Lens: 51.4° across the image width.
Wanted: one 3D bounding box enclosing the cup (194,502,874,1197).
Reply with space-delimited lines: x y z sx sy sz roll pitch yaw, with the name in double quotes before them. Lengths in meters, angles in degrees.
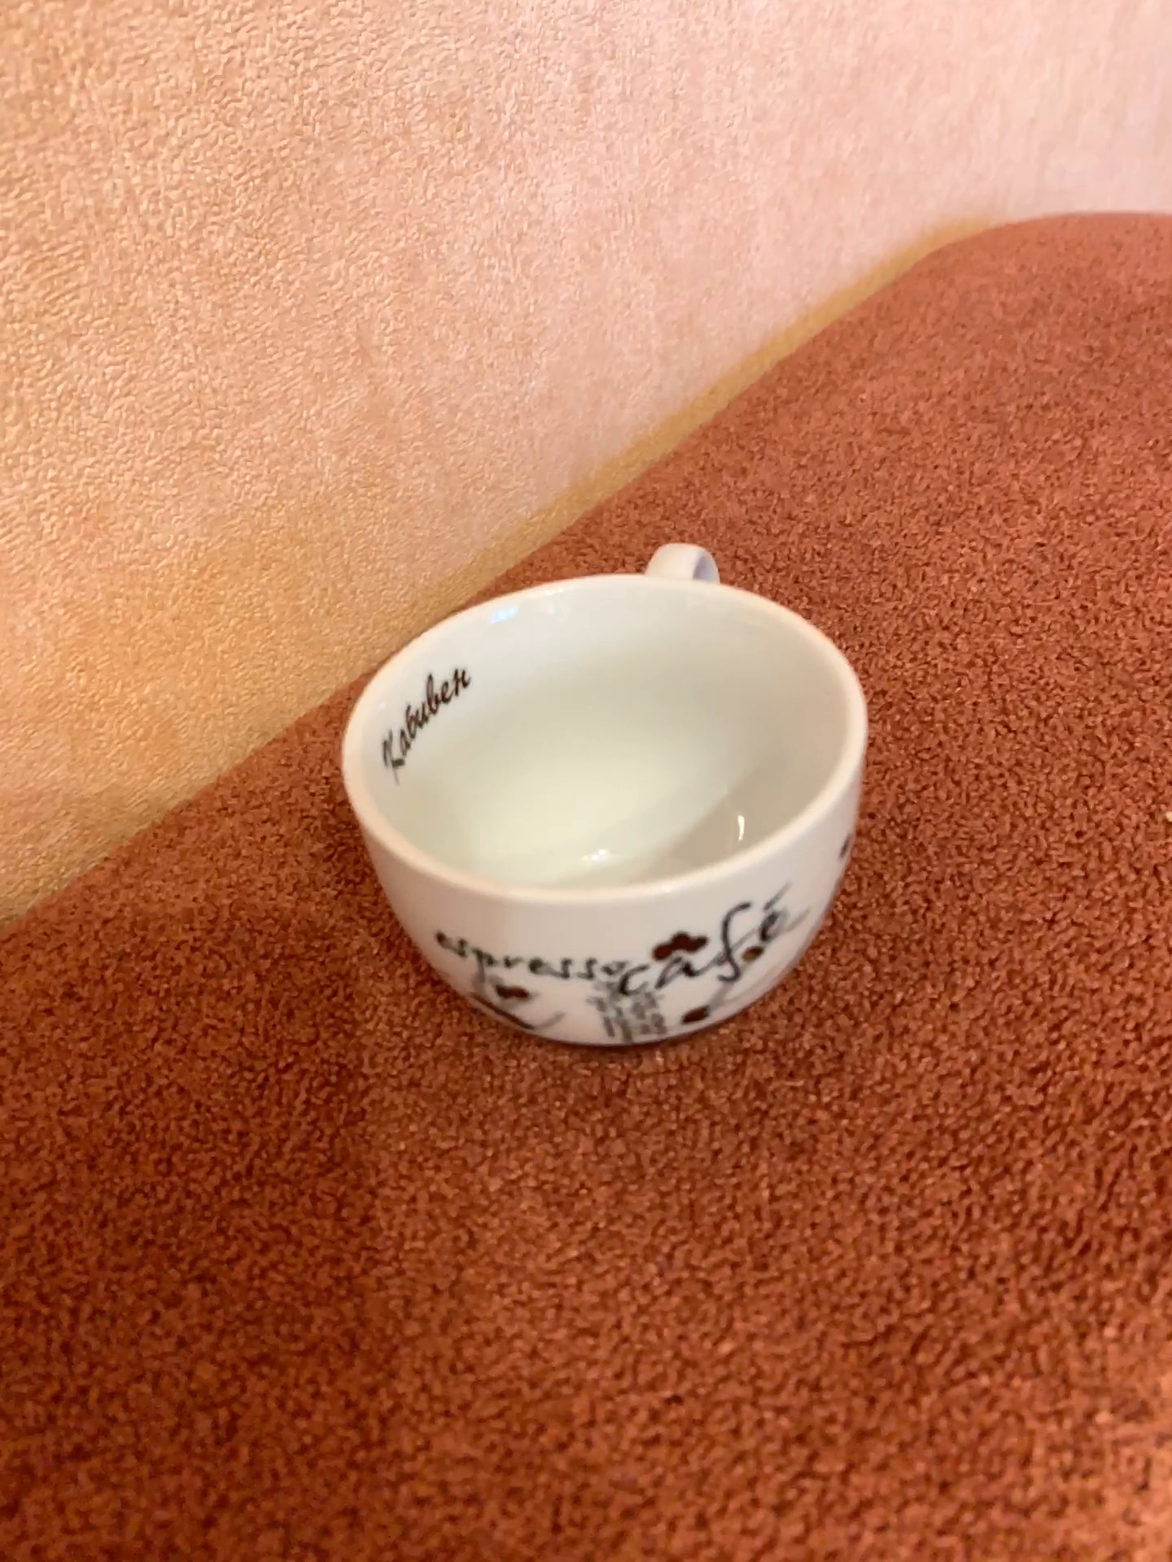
"cup" 0.001 0.003 0.166 0.065 0.040 0.083 6 44 15
